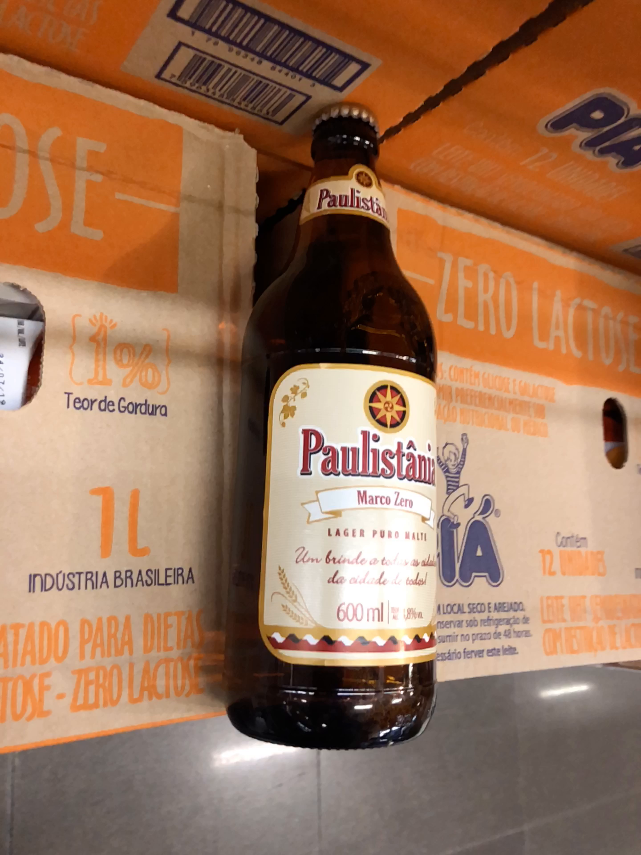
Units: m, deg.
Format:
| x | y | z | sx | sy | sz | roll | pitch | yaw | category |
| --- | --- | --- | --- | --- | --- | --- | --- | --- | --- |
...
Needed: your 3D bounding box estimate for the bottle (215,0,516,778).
| x | y | z | sx | sy | sz | roll | pitch | yaw | category |
| --- | --- | --- | --- | --- | --- | --- | --- | --- | --- |
| 0.015 | -0.025 | 0.247 | 0.080 | 0.050 | 0.250 | 8 | 76 | -33 | bottle |
